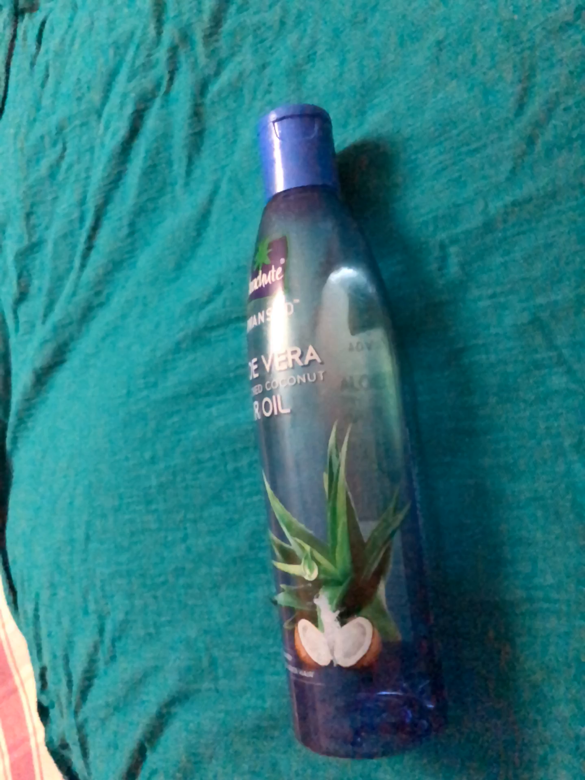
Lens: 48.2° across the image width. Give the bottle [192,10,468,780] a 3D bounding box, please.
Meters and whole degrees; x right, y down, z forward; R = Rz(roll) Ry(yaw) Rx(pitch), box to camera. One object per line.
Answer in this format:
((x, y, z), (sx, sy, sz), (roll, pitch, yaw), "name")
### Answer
((0.007, 0.001, 0.201), (0.050, 0.040, 0.210), (-14, 79, 50), "bottle")
